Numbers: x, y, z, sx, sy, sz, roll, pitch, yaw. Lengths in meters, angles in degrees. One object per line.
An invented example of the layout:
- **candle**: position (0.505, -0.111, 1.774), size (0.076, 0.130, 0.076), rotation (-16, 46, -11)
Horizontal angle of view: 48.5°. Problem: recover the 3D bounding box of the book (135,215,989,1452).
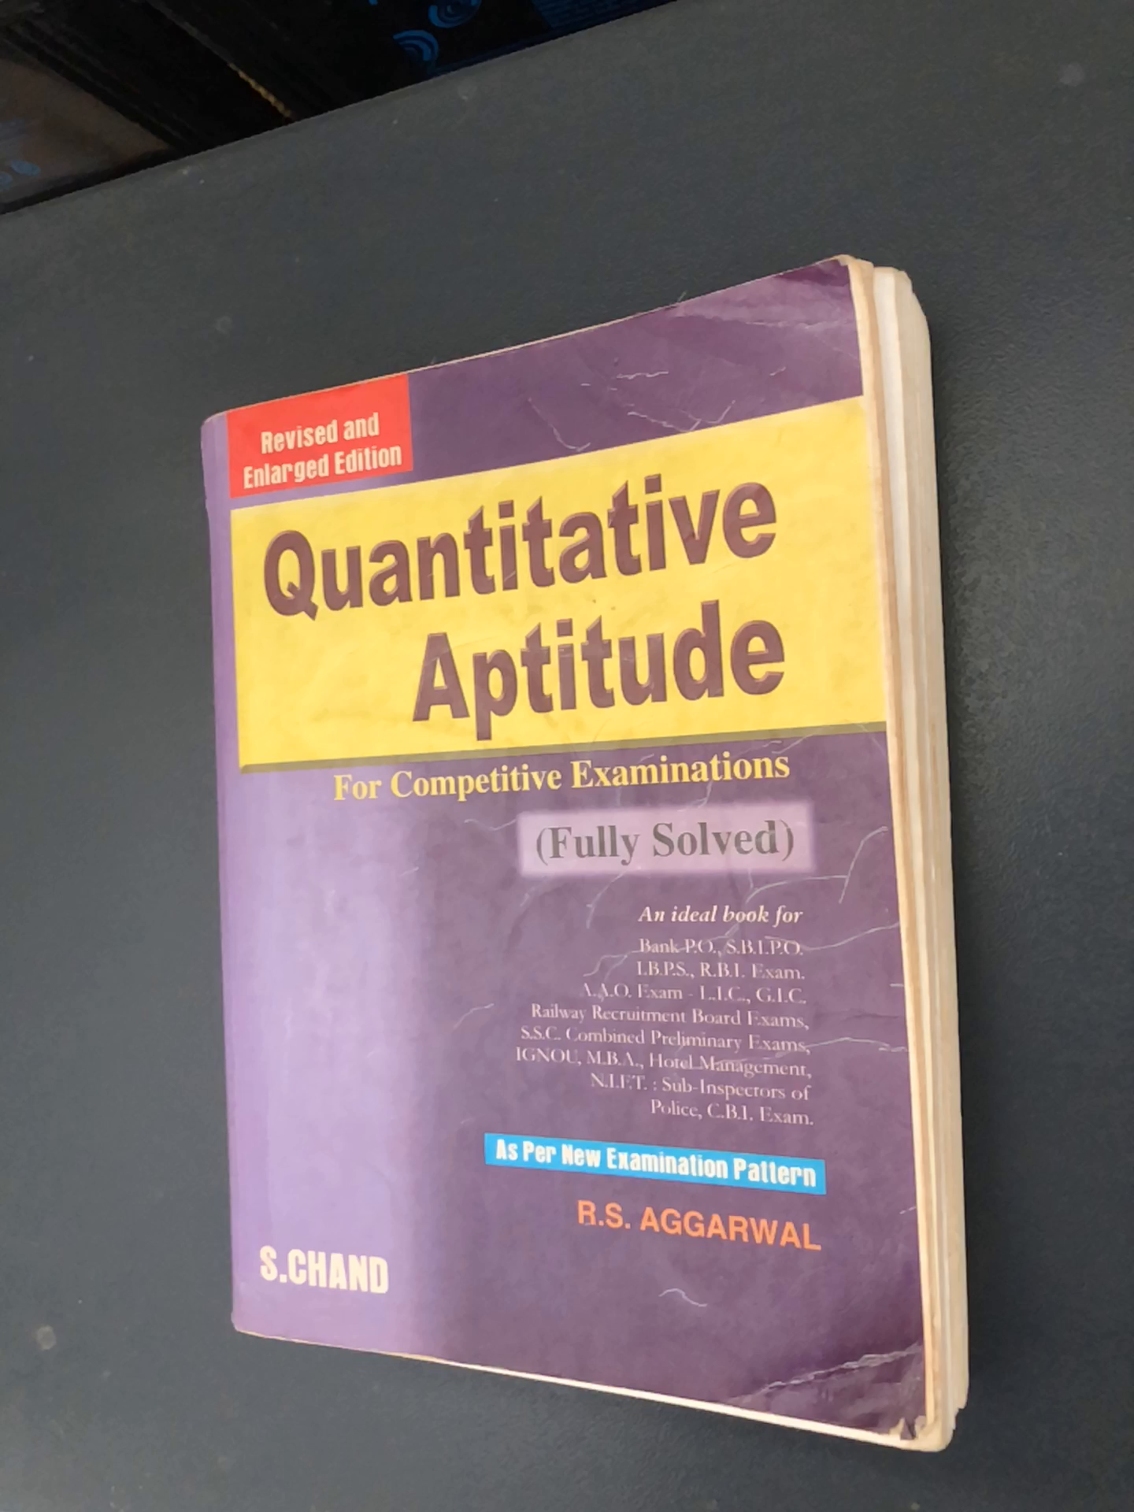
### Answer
- **book**: position (-0.007, 0.016, 0.284), size (0.180, 0.050, 0.220), rotation (-3, 87, 24)
